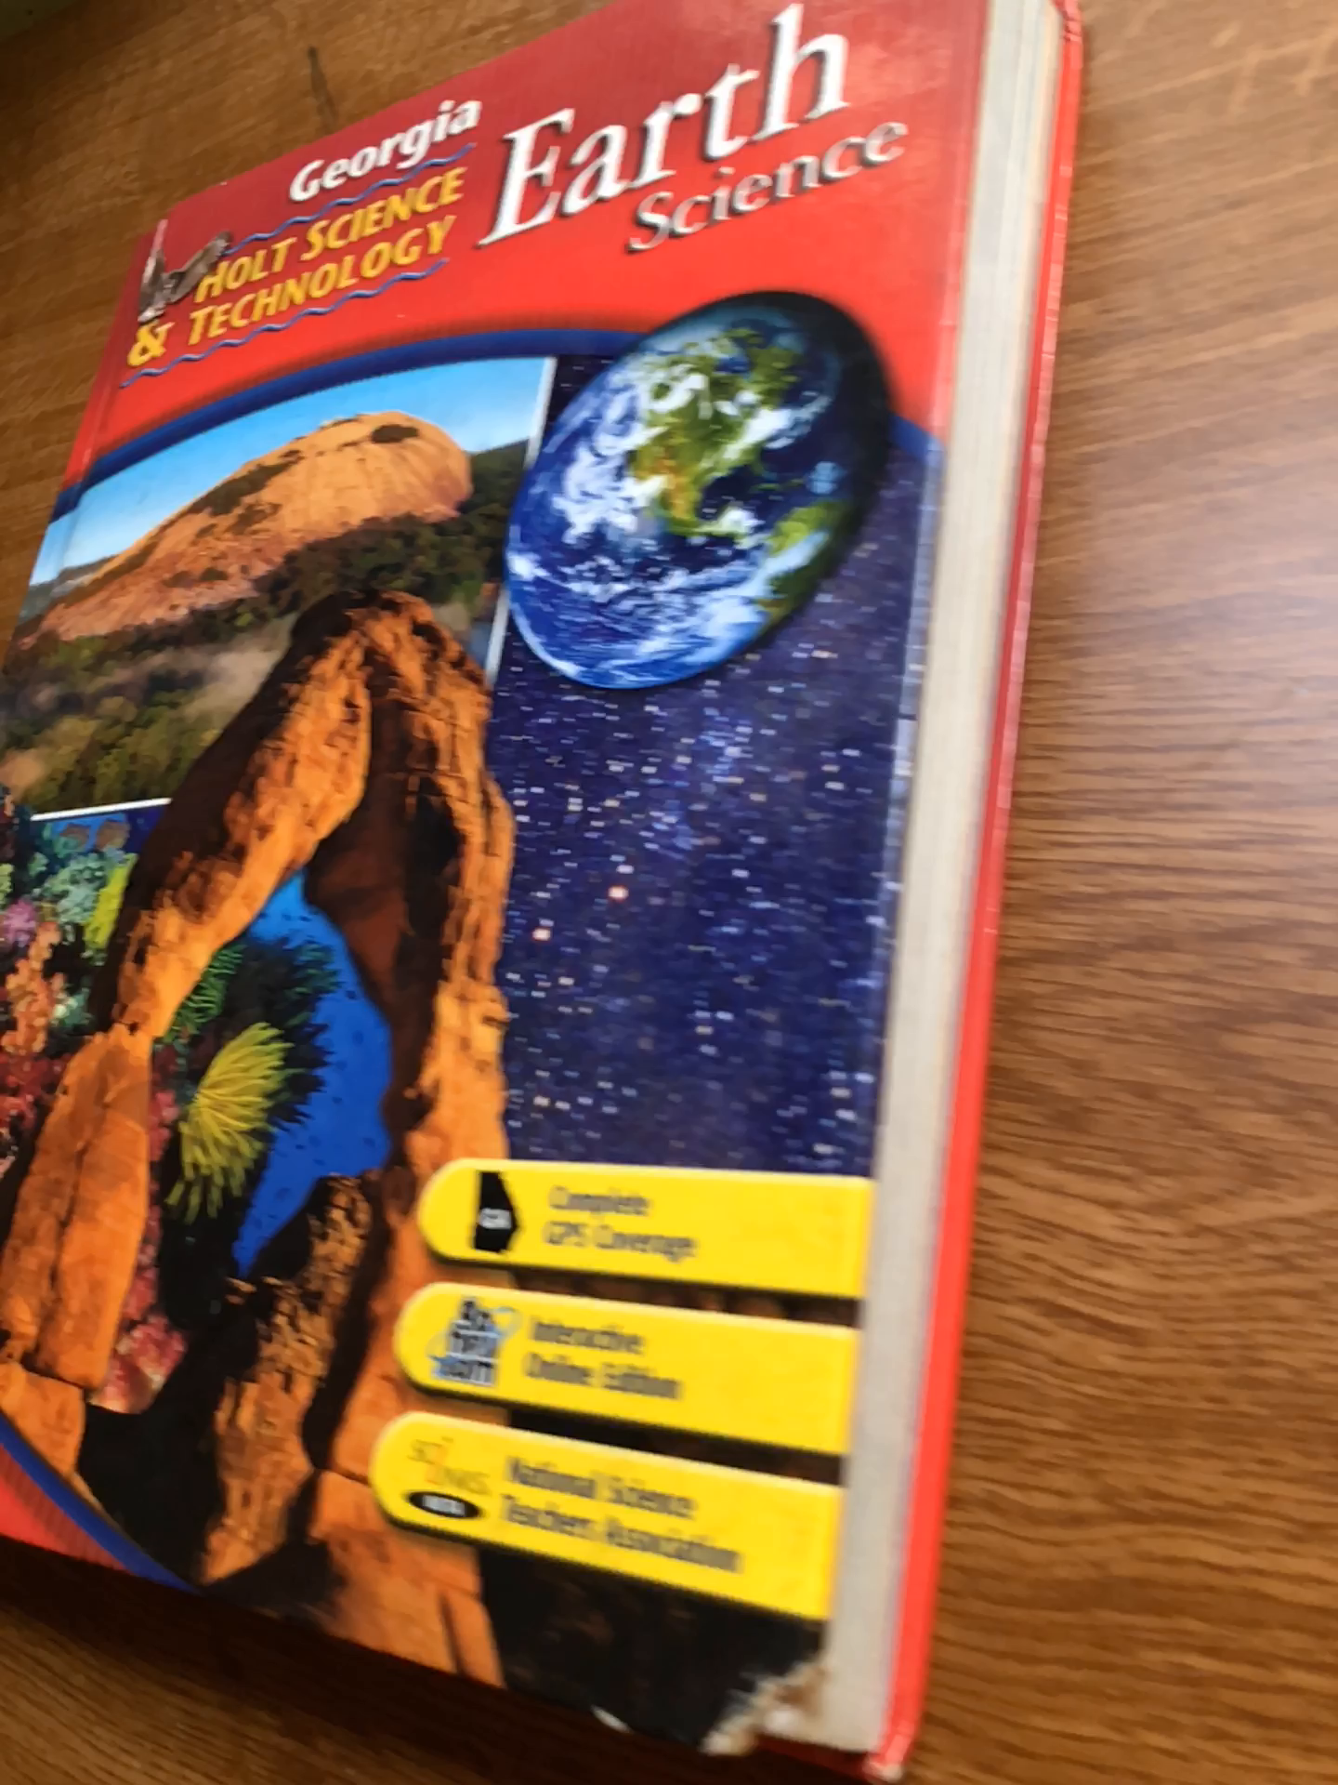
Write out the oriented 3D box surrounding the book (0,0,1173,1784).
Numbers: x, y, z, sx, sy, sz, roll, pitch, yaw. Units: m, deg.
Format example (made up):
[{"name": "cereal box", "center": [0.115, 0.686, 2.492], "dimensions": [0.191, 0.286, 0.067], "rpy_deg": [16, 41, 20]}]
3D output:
[{"name": "book", "center": [-0.044, -0.020, 0.235], "dimensions": [0.215, 0.050, 0.266], "rpy_deg": [-3, 68, 33]}]
